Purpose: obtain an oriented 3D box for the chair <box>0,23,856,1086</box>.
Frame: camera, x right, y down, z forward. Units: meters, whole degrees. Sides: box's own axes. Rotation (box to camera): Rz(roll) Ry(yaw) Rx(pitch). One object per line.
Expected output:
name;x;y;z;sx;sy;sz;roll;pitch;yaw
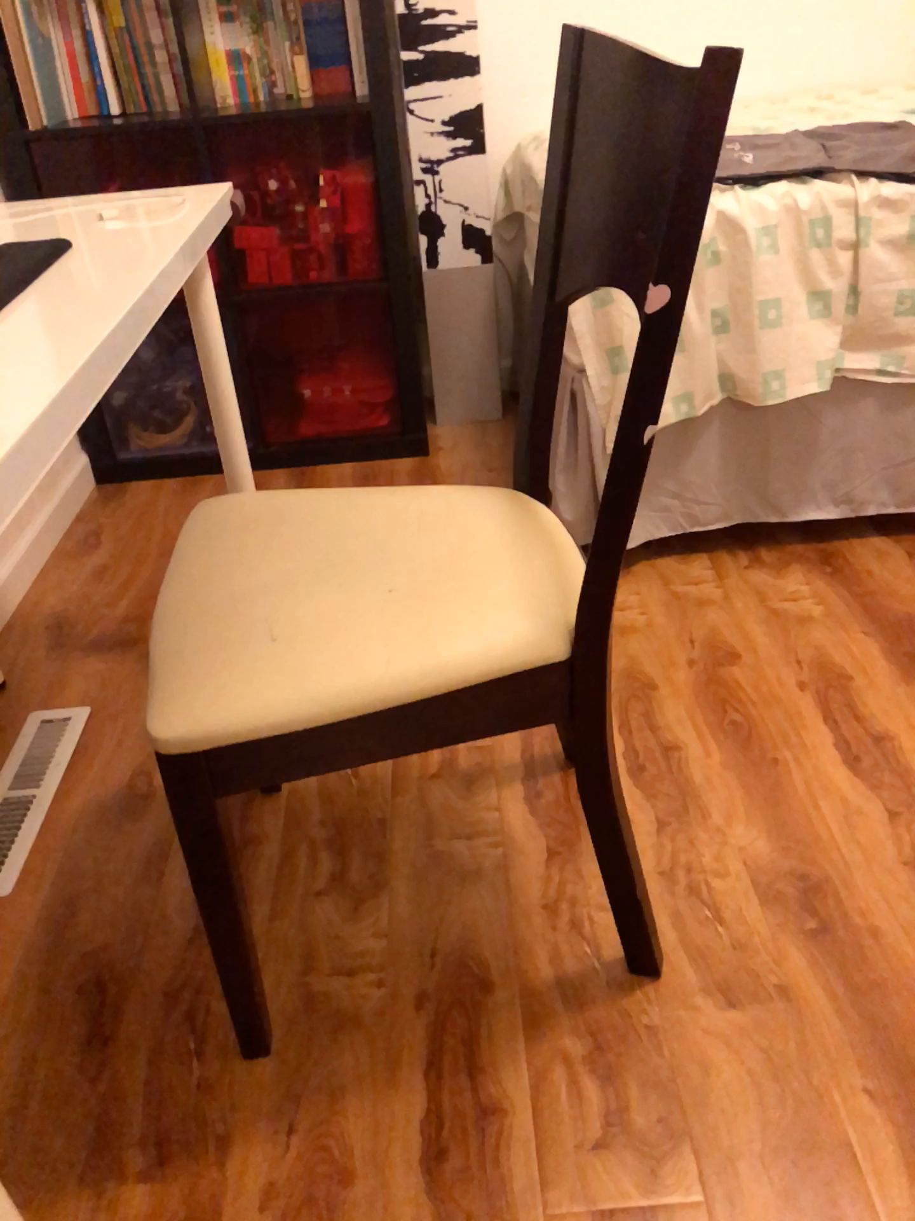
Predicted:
chair;-0.043;-0.075;0.990;0.510;0.845;0.533;-7;31;-6
